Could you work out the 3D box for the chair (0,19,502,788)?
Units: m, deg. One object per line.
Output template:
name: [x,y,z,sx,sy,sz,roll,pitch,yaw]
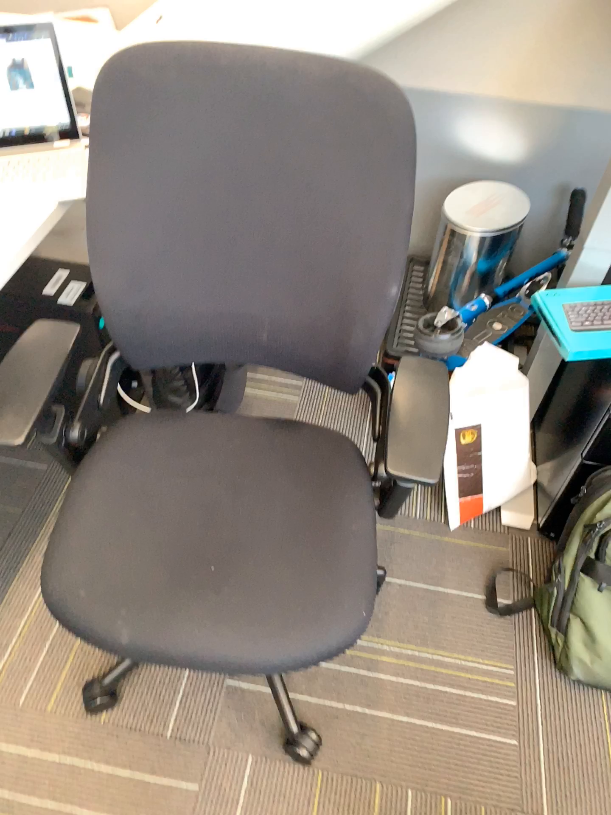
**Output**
chair: [-0.114,0.164,1.185,0.580,1.363,0.633,10,49,6]
